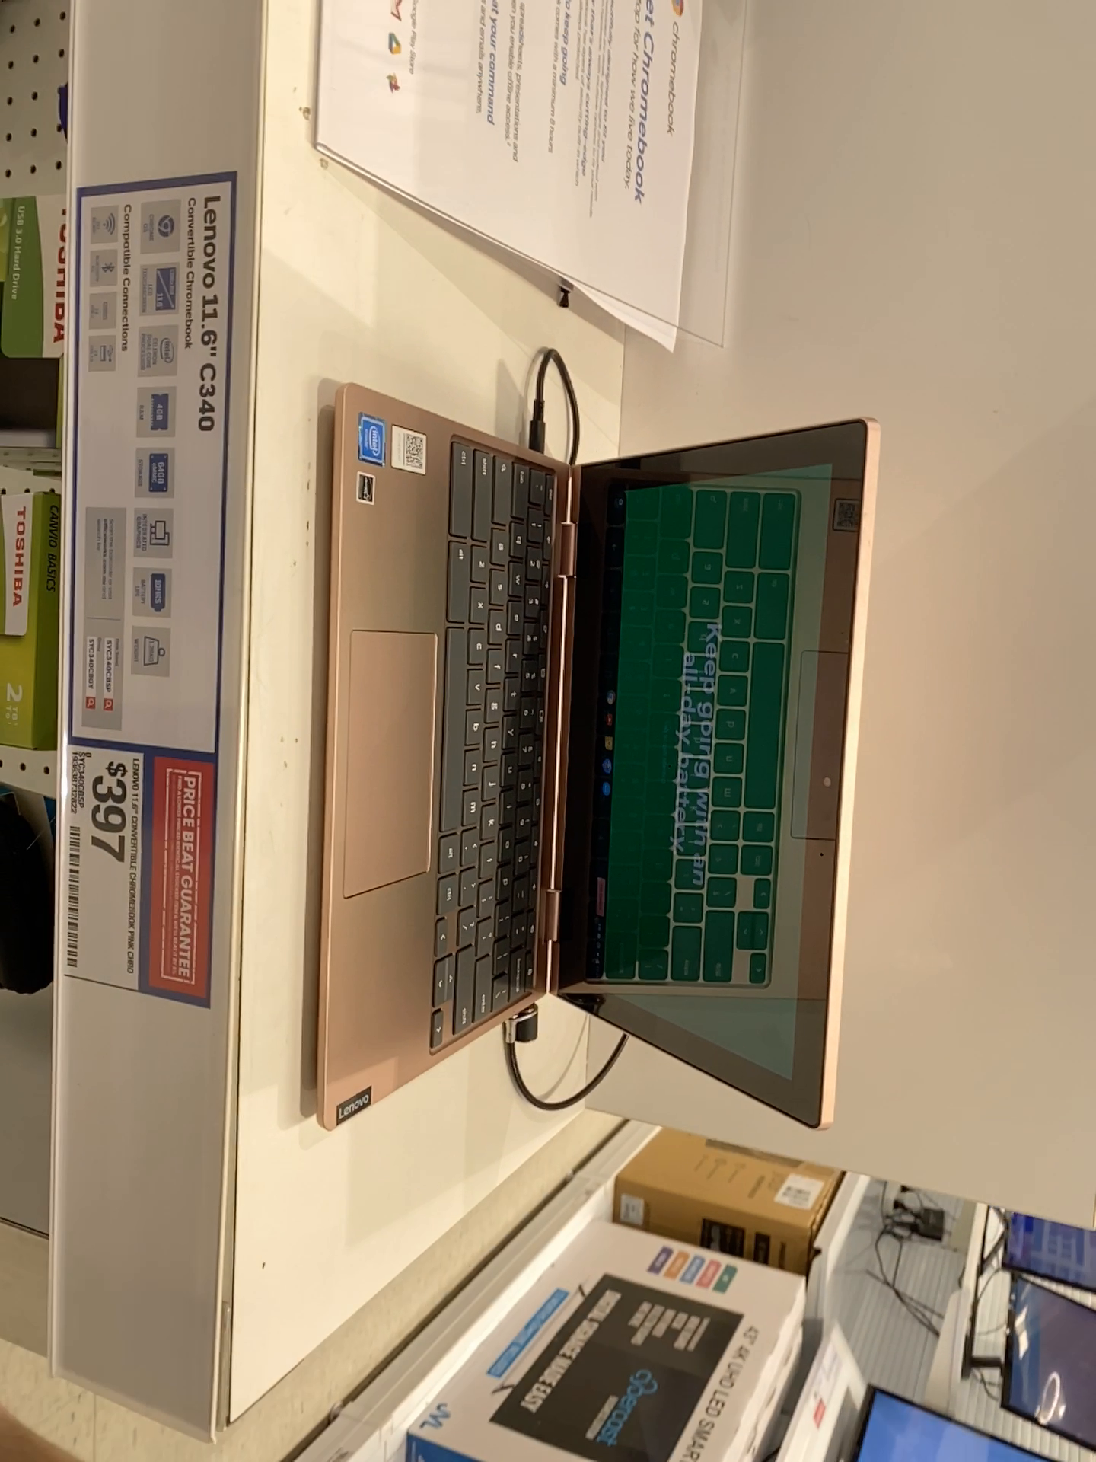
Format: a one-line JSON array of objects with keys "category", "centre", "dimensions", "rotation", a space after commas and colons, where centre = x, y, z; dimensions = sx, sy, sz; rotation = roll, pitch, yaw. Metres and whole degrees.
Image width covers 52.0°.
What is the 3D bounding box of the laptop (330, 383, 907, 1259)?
[{"category": "laptop", "centre": [0.040, 0.023, 0.477], "dimensions": [0.197, 0.168, 0.280], "rotation": [-9, 103, -64]}]
